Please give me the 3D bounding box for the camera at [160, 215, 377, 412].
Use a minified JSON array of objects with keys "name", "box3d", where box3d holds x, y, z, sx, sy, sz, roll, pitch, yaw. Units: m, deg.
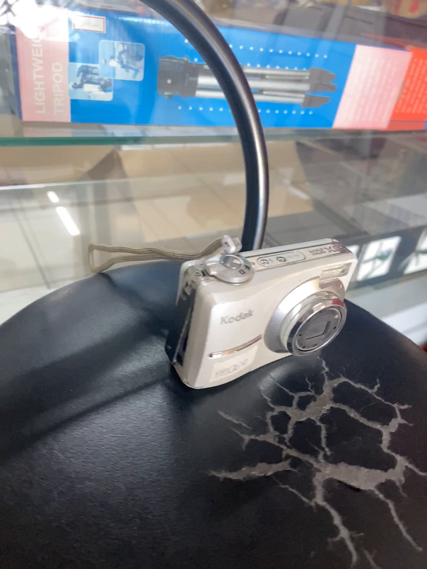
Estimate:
[{"name":"camera","box3d":[0.025,0.011,0.224,0.090,0.070,0.040,-14,41,-30]}]
